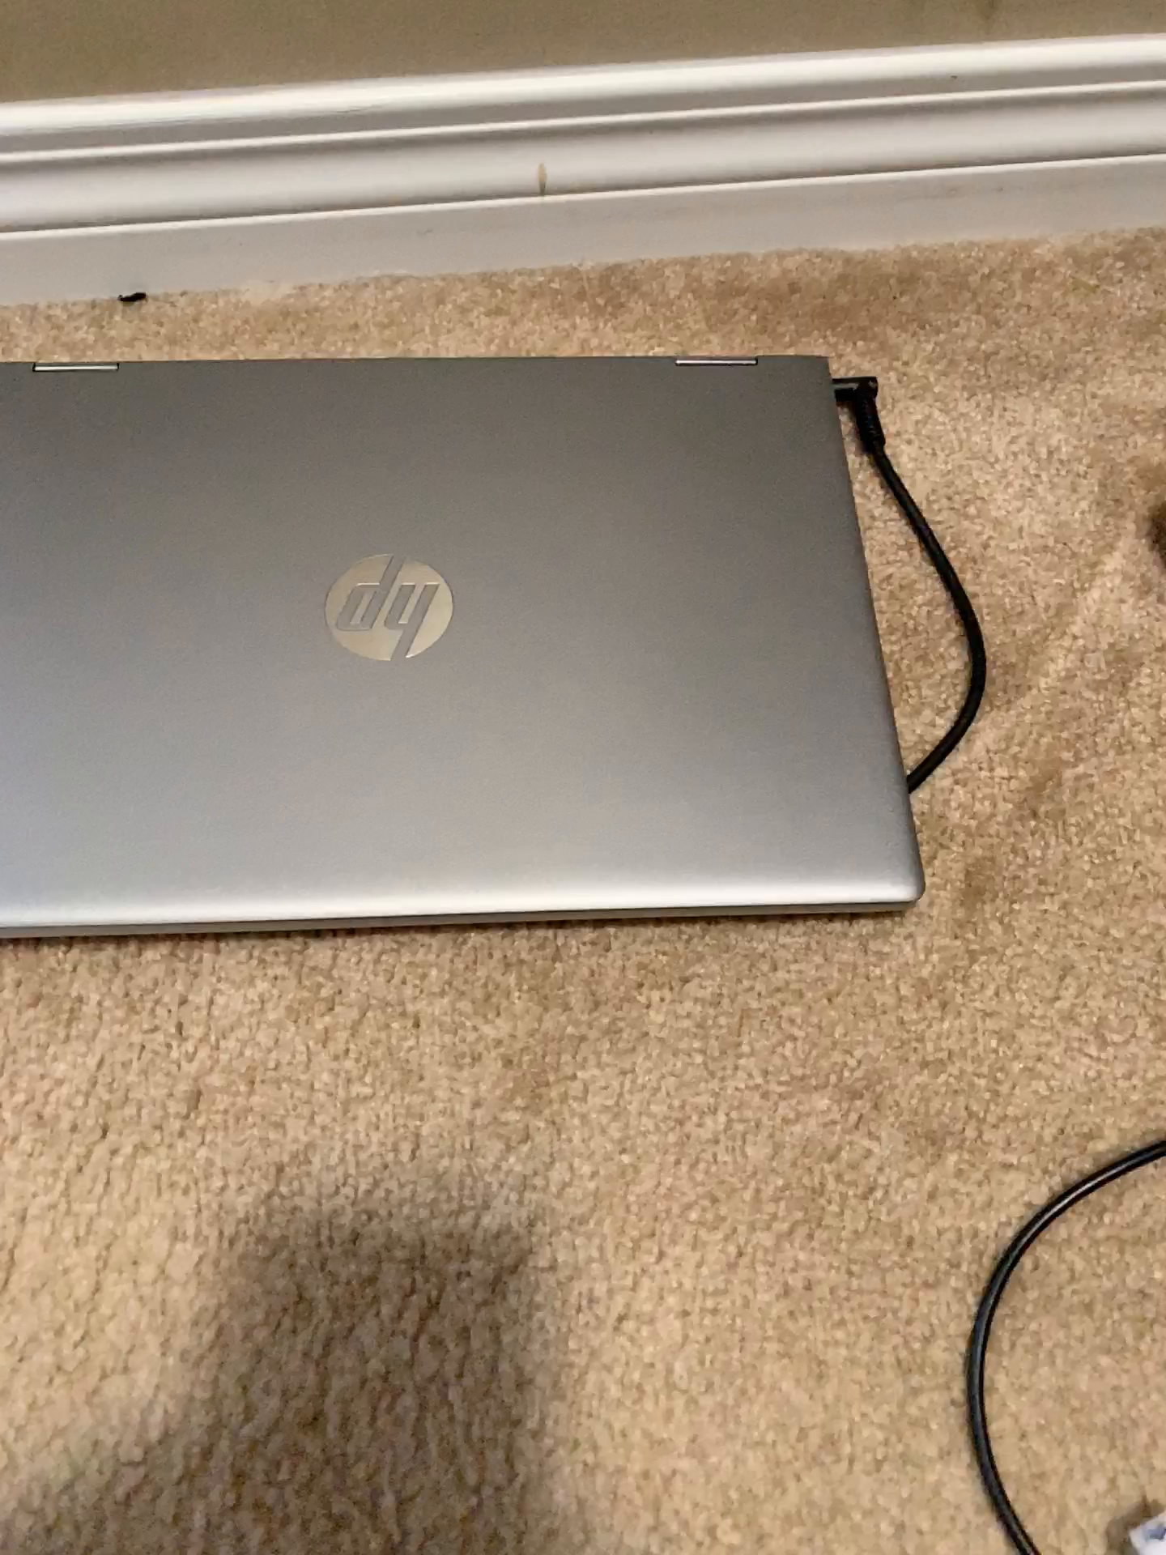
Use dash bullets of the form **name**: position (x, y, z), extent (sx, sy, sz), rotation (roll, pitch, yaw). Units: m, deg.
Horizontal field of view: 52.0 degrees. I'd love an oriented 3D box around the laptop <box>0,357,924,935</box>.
- **laptop**: position (-0.062, -0.059, 0.394), extent (0.319, 0.001, 0.222), rotation (-1, 61, -4)
